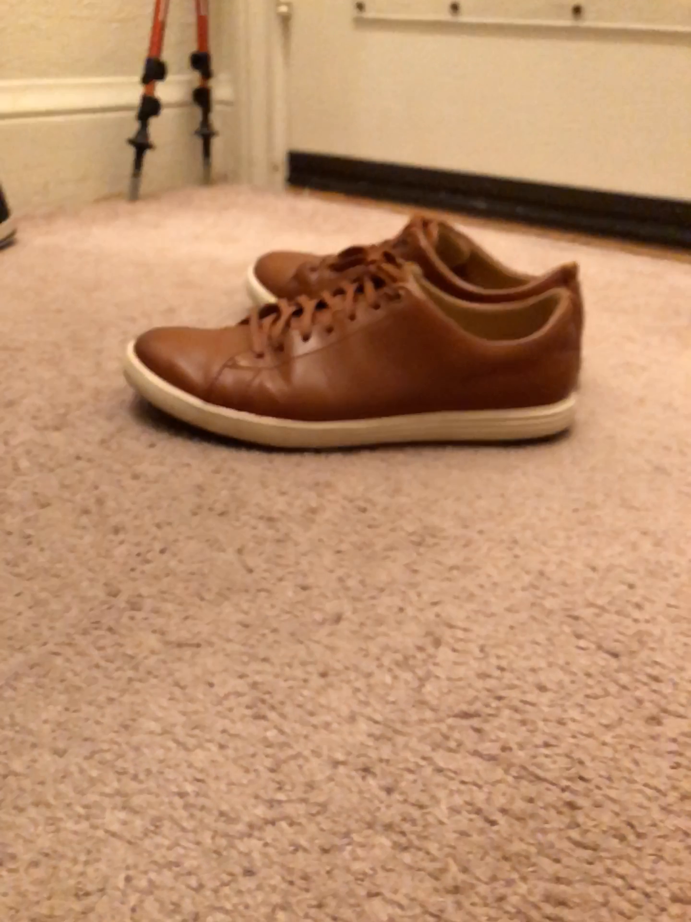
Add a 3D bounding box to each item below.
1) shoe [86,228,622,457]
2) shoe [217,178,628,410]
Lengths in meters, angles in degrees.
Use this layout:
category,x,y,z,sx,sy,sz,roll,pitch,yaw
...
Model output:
category,x,y,z,sx,sy,sz,roll,pitch,yaw
shoe,0.003,-0.077,0.486,0.285,0.100,0.118,1,29,-3
shoe,0.052,-0.143,0.605,0.285,0.102,0.118,17,33,24
